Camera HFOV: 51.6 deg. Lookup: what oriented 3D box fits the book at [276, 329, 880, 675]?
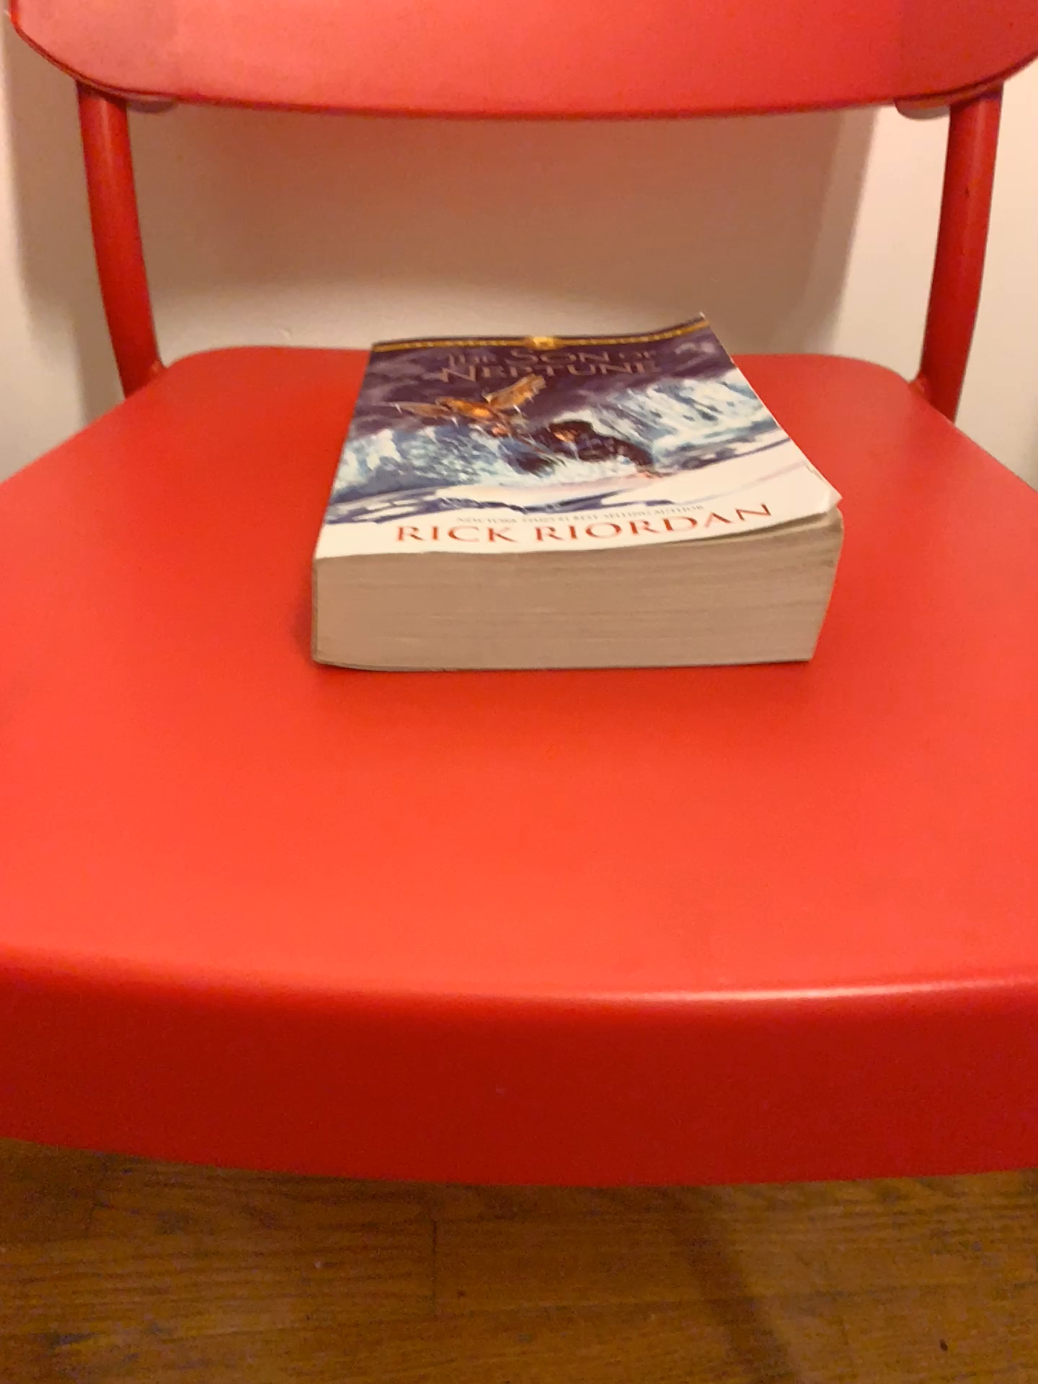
[{"bbox_3d":[0.011,-0.072,0.342,0.142,0.040,0.189,0,32,-2],"label":"book"}]
